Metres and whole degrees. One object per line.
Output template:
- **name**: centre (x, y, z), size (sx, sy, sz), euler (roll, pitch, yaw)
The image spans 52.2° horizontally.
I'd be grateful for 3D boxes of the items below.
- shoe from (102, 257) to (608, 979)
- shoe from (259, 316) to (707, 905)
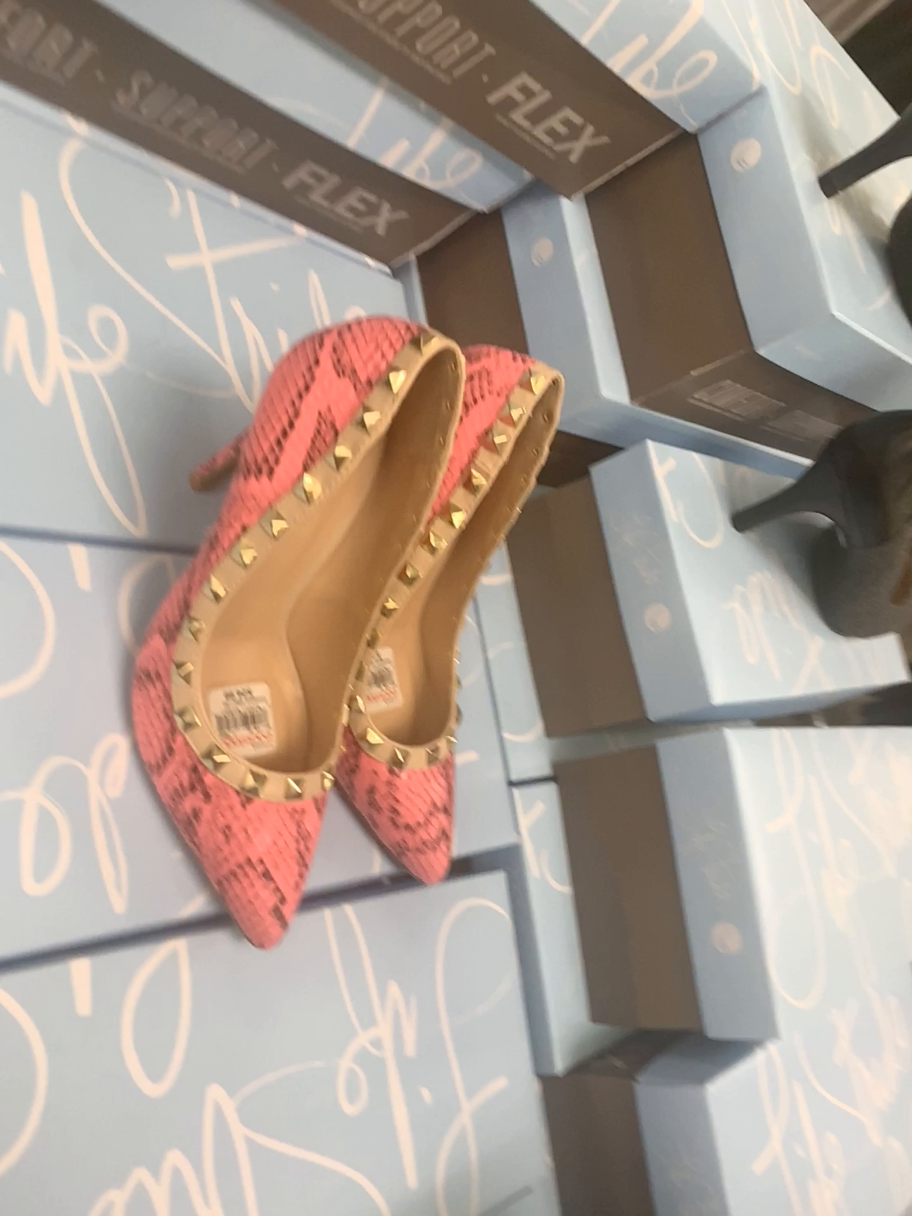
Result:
- **shoe**: centre (-0.043, 0.012, 0.321), size (0.080, 0.129, 0.199), euler (4, 72, -49)
- **shoe**: centre (0.004, 0.009, 0.382), size (0.082, 0.129, 0.195), euler (4, 72, -49)
